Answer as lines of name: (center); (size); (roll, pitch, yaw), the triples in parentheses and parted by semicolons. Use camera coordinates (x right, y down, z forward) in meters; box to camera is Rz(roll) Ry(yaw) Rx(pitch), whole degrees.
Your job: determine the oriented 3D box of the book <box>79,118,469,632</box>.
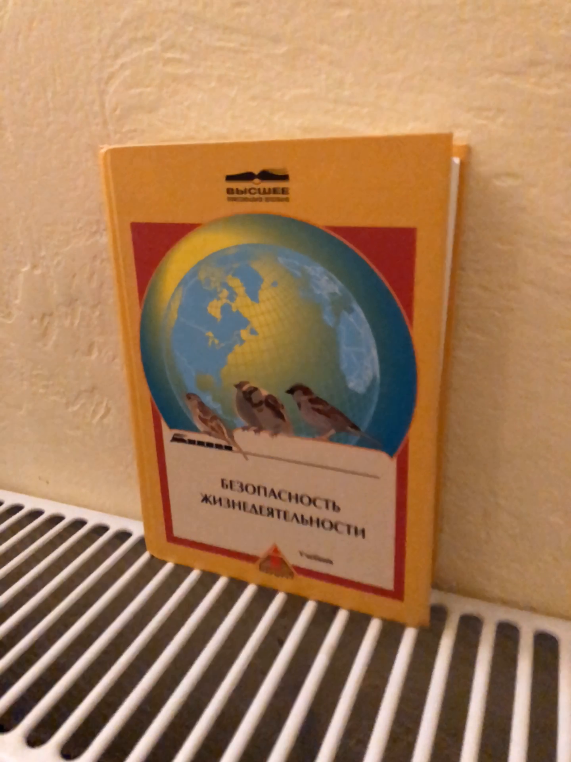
book: (-0.003, -0.003, 0.281); (0.150, 0.203, 0.041); (7, 23, 25)
